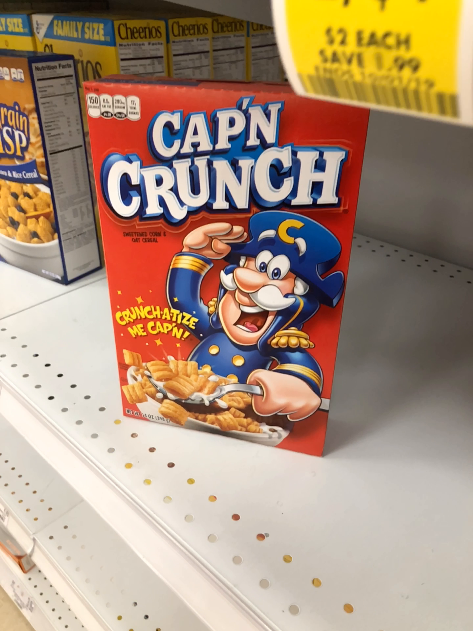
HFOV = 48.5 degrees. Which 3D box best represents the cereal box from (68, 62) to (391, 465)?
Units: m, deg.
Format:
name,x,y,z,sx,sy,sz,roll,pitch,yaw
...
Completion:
name,x,y,z,sx,sy,sz,roll,pitch,yaw
cereal box,-0.005,-0.034,0.439,0.210,0.309,0.070,9,32,13
